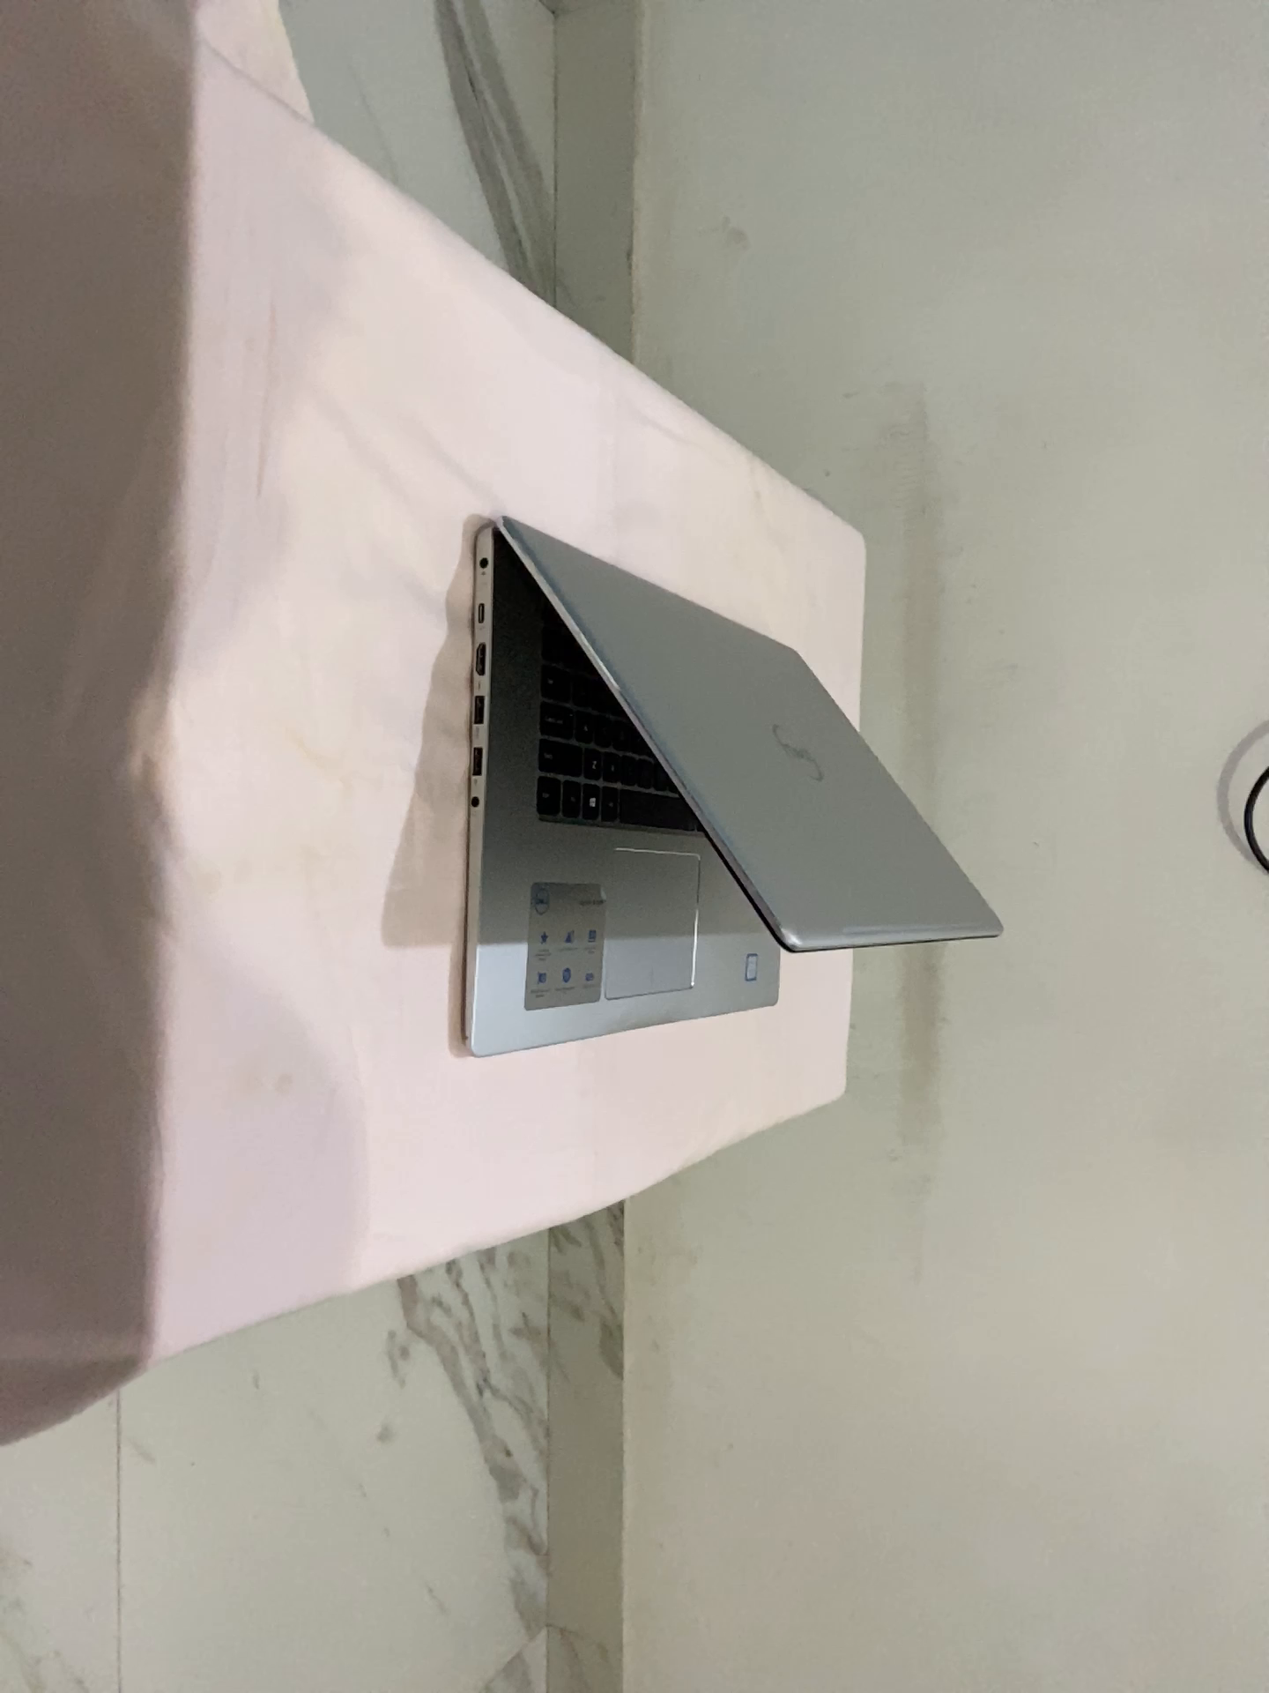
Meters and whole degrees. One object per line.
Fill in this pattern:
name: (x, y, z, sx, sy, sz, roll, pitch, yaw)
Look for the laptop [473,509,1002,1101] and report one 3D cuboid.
laptop: (0.080, -0.016, 0.698, 0.349, 0.148, 0.234, 2, 89, -61)
